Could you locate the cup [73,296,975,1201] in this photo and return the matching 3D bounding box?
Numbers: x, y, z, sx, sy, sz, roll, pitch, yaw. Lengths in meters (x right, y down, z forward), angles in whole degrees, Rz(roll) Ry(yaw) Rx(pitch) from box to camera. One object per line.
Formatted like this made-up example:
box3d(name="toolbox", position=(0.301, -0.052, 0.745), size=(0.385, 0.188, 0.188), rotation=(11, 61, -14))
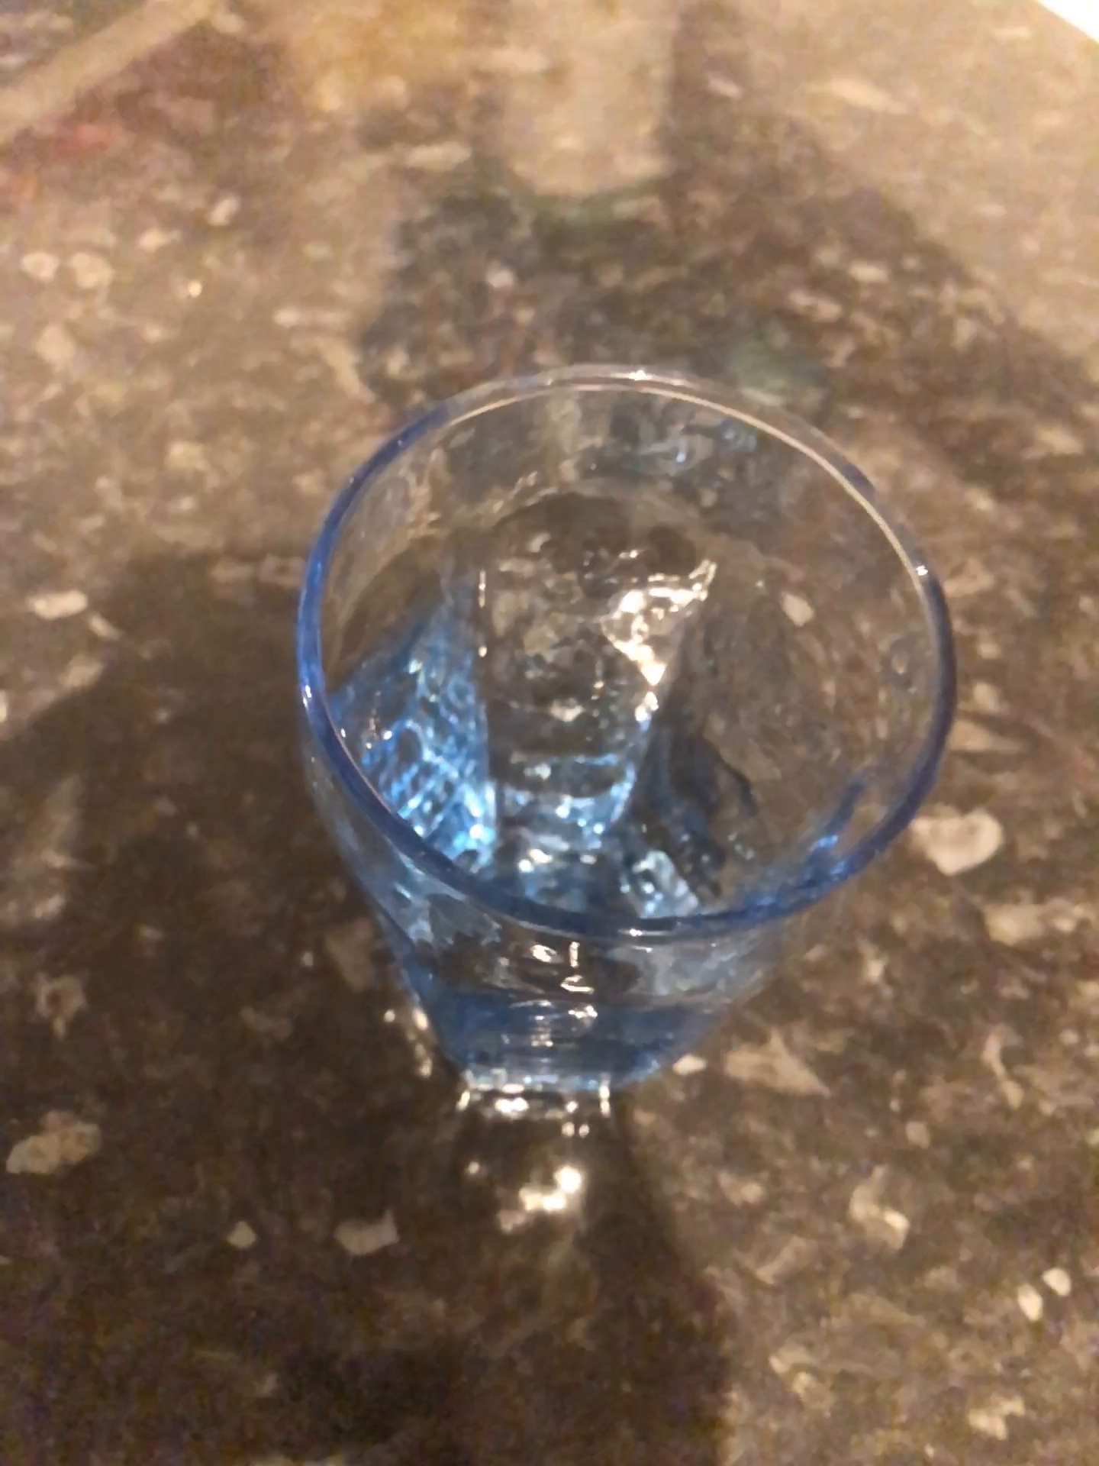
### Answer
box3d(name="cup", position=(-0.002, 0.015, 0.182), size=(0.080, 0.120, 0.070), rotation=(14, 62, 2))
